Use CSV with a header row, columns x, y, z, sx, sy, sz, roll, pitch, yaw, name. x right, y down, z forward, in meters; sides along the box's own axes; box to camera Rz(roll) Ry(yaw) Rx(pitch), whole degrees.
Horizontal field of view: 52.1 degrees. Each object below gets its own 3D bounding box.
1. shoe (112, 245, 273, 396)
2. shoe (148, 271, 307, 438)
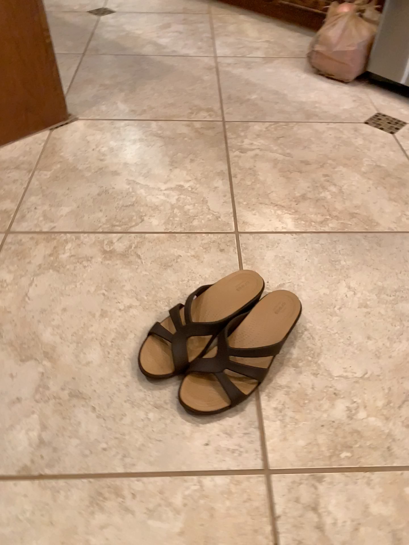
x,y,z,sx,sy,sz,roll,pitch,yaw,name
-0.014,0.074,0.725,0.259,0.092,0.110,-33,56,-28,shoe
0.044,0.127,0.703,0.110,0.092,0.264,35,55,27,shoe
